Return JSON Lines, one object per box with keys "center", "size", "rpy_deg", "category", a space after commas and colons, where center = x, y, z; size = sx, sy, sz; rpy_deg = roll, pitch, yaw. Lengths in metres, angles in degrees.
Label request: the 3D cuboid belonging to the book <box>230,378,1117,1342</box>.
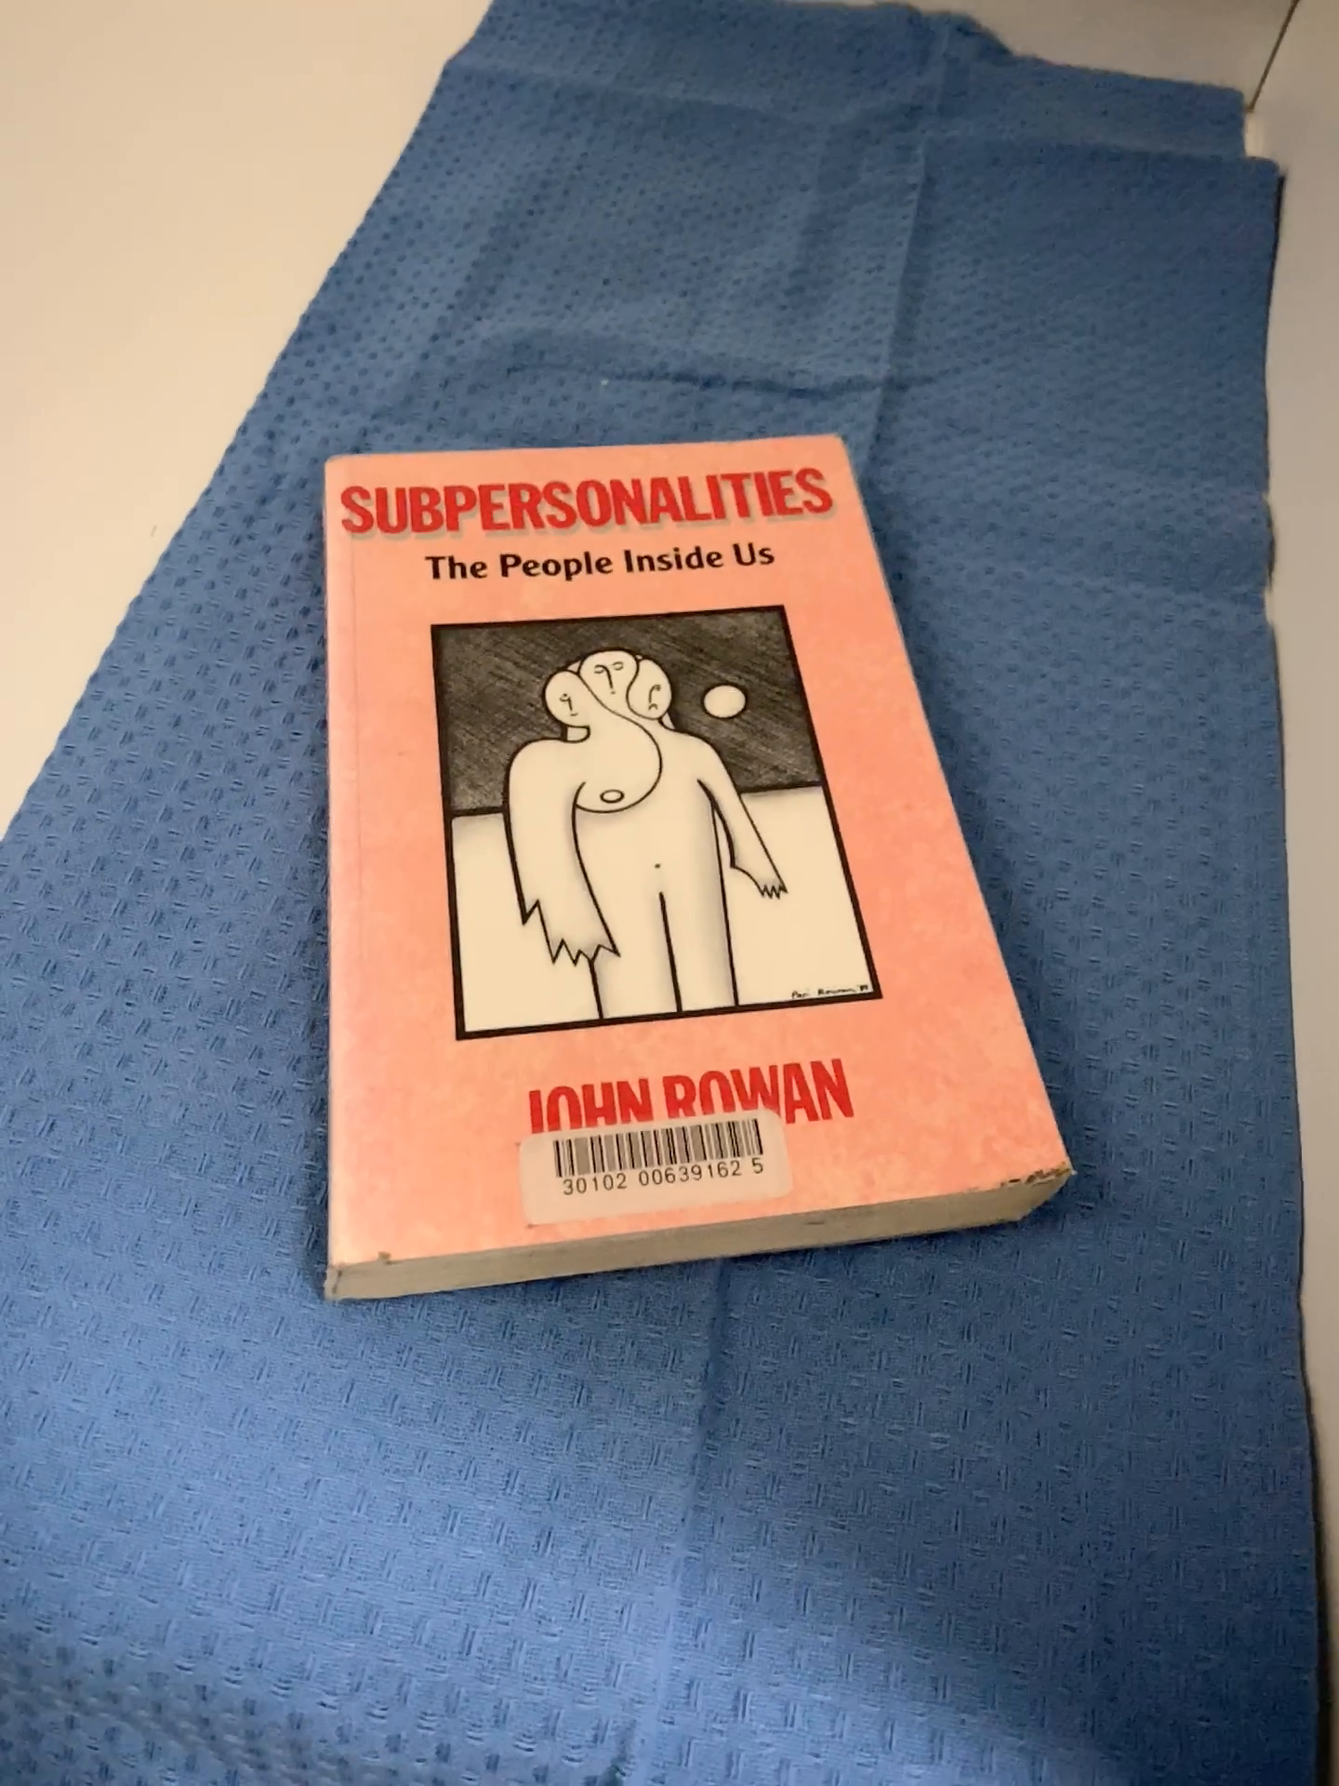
{"center": [-0.015, -0.028, 0.324], "size": [0.160, 0.040, 0.231], "rpy_deg": [-5, 57, -8], "category": "book"}
